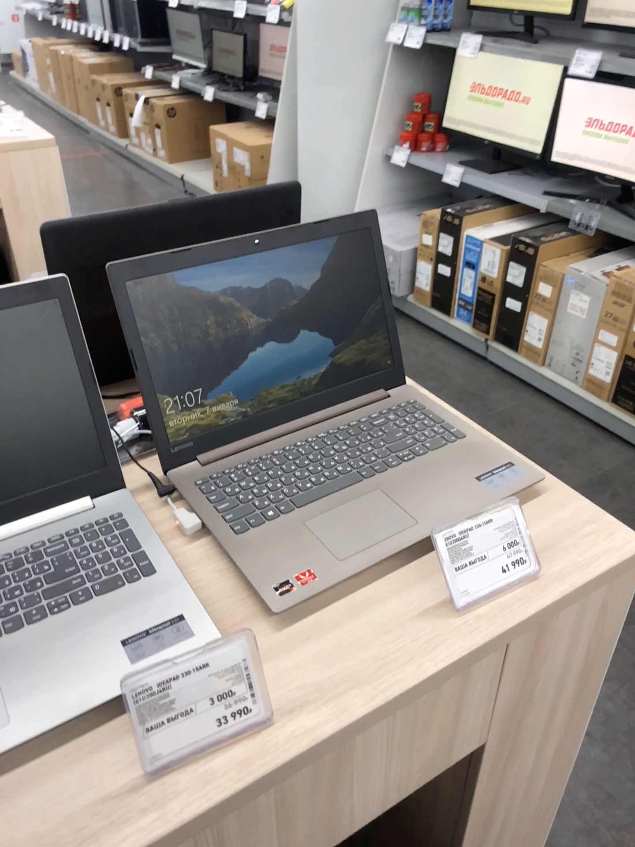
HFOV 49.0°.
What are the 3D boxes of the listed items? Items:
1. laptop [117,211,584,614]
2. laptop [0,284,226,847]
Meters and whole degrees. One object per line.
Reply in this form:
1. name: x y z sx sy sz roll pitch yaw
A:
1. laptop: 0.022 -0.051 0.763 0.351 0.209 0.329 -20 40 -27
2. laptop: -0.316 0.069 0.569 0.343 0.207 0.323 -20 39 -29
